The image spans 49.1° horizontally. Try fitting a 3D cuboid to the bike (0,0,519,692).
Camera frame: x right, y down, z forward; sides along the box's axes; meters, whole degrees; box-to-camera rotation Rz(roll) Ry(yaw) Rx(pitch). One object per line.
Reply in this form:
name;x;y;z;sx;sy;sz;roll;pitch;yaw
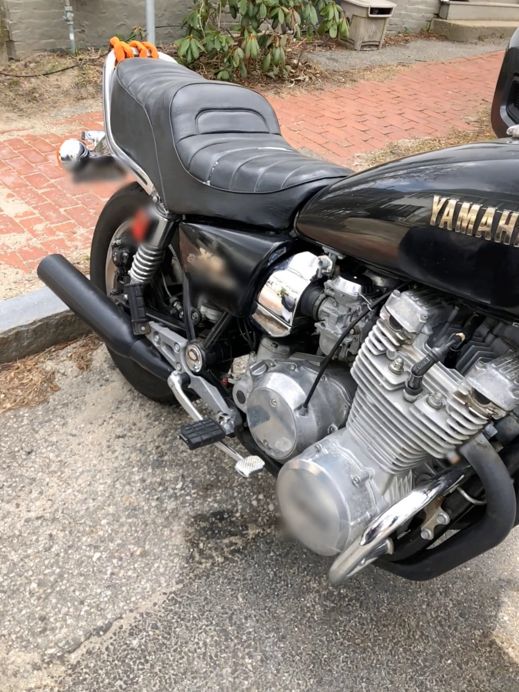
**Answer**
bike;0.356;-0.042;1.011;1.970;1.157;0.712;32;42;31
